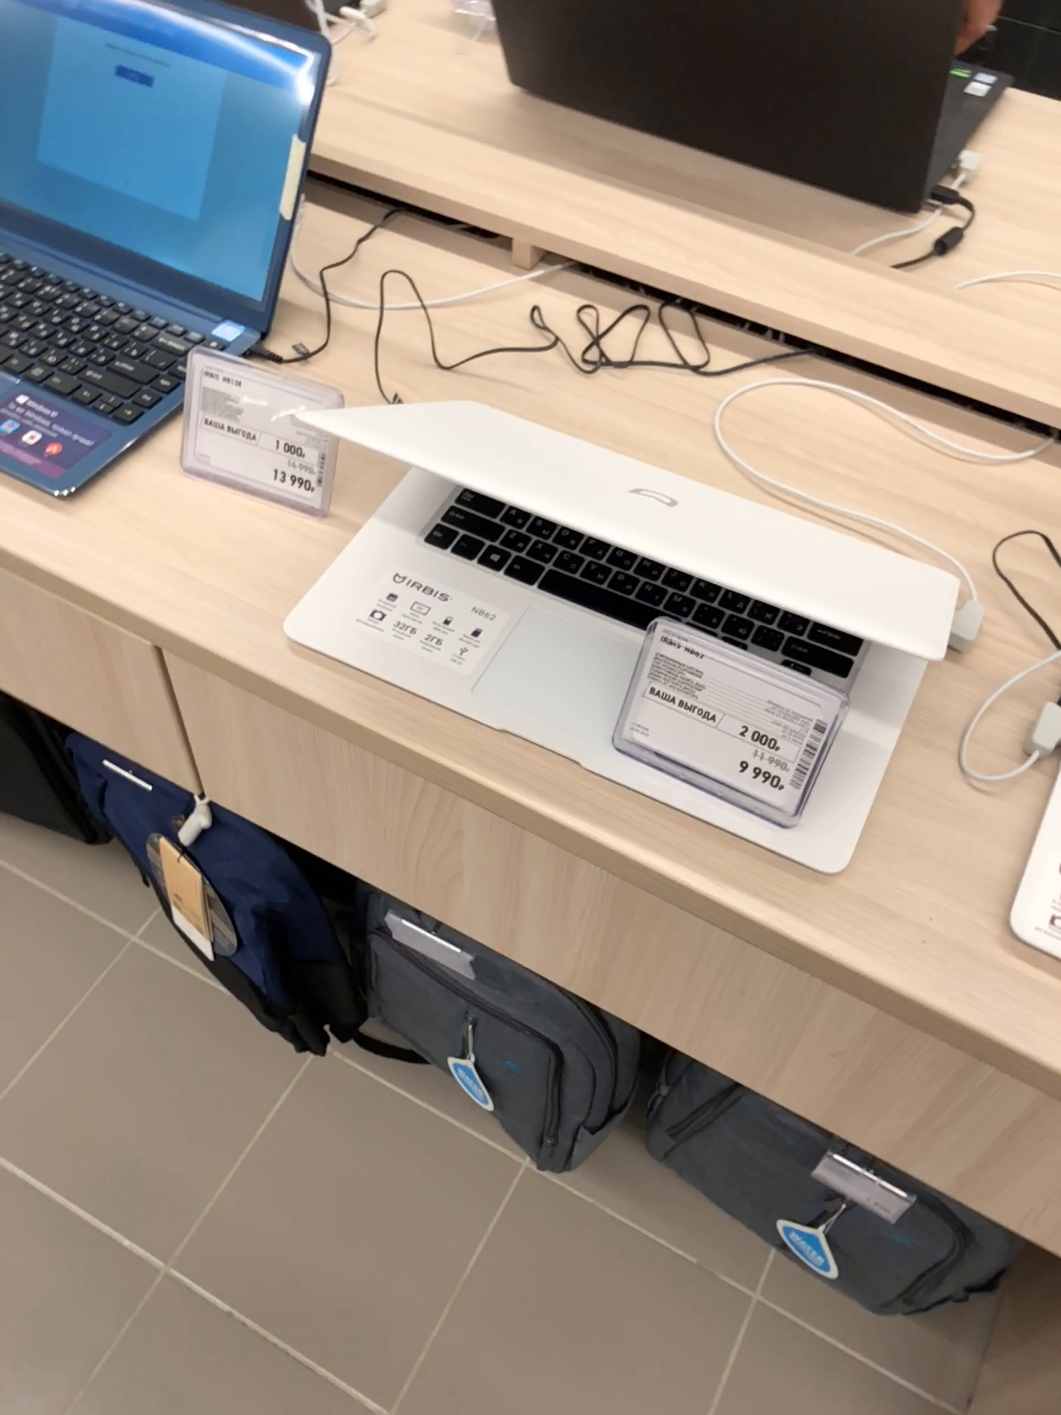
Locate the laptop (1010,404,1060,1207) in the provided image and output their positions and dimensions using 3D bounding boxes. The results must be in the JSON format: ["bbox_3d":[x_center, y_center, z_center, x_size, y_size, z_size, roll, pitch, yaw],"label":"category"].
[{"bbox_3d":[0.416,0.033,0.534,0.263,0.168,0.231,26,56,18],"label":"laptop"}]

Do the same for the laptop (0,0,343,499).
[{"bbox_3d":[-0.354,-0.357,0.810,0.310,0.162,0.320,25,55,15],"label":"laptop"}]

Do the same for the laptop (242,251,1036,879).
[{"bbox_3d":[0.059,-0.095,0.651,0.350,0.115,0.224,23,57,15],"label":"laptop"}]
